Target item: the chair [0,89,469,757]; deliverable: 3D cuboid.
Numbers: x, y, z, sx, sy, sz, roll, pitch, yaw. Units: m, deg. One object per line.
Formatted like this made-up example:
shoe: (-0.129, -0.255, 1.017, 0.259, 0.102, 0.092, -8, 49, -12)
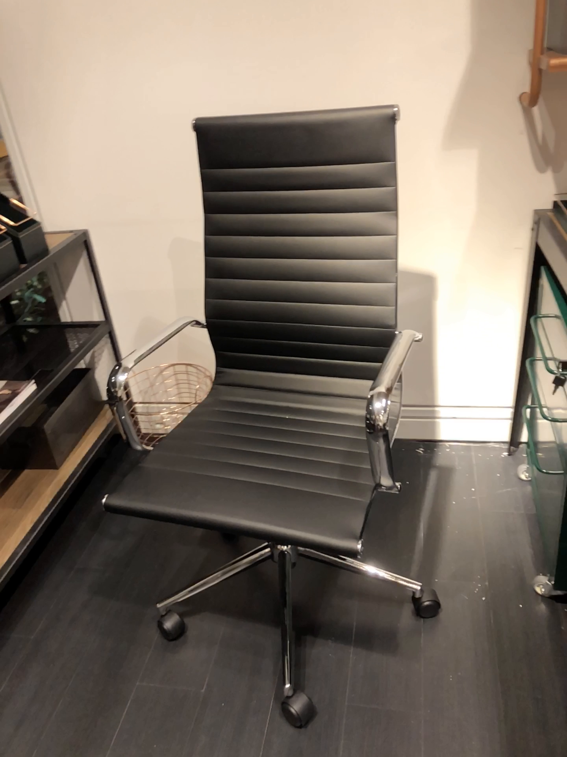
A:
chair: (-0.026, 0.058, 1.263, 0.680, 1.052, 0.665, 5, 32, 20)
